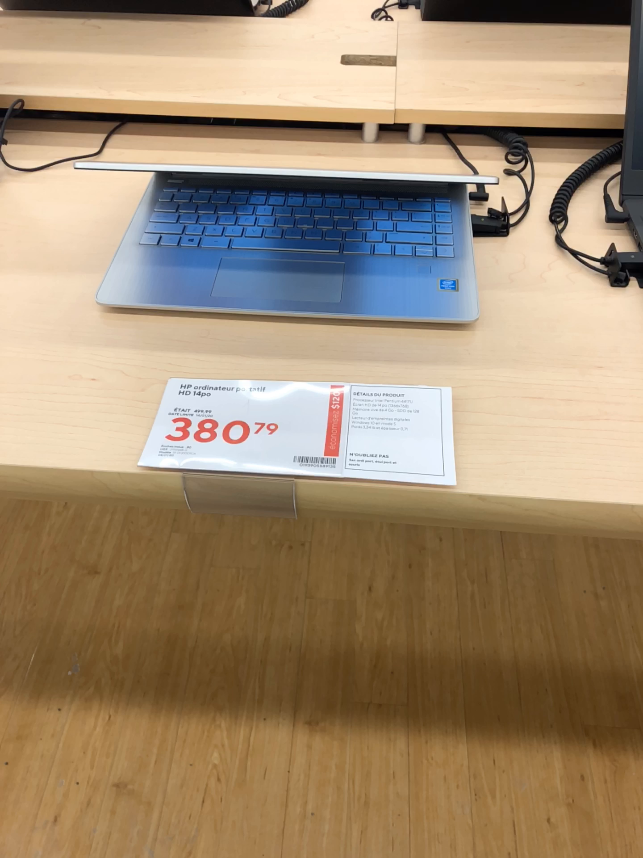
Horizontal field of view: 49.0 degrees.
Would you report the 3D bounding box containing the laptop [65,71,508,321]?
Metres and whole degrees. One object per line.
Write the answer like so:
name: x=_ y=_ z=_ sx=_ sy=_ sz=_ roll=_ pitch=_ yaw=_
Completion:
laptop: x=-0.028 y=-0.210 z=0.604 sx=0.318 sy=0.104 sz=0.217 roll=4 pitch=47 yaw=9
